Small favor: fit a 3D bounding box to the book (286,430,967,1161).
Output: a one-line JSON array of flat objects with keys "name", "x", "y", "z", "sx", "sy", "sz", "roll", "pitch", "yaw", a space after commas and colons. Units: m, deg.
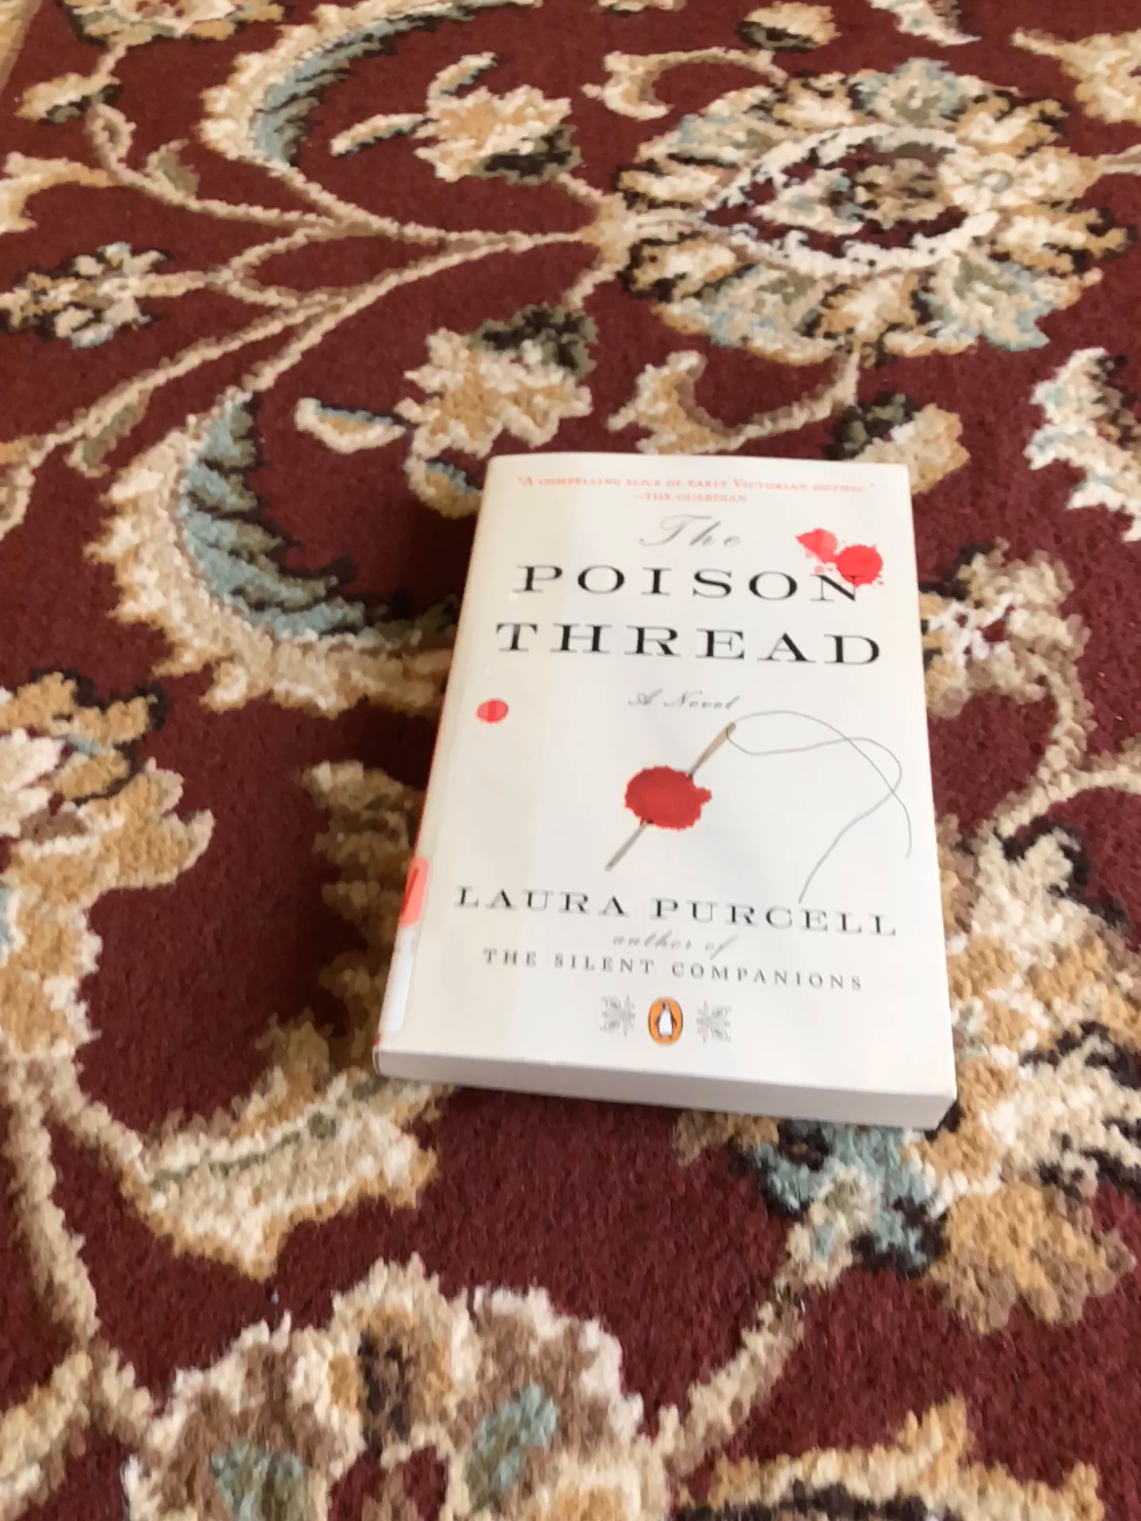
[{"name": "book", "x": 0.019, "y": -0.005, "z": 0.330, "sx": 0.140, "sy": 0.030, "sz": 0.200, "roll": 2, "pitch": 55, "yaw": 5}]
